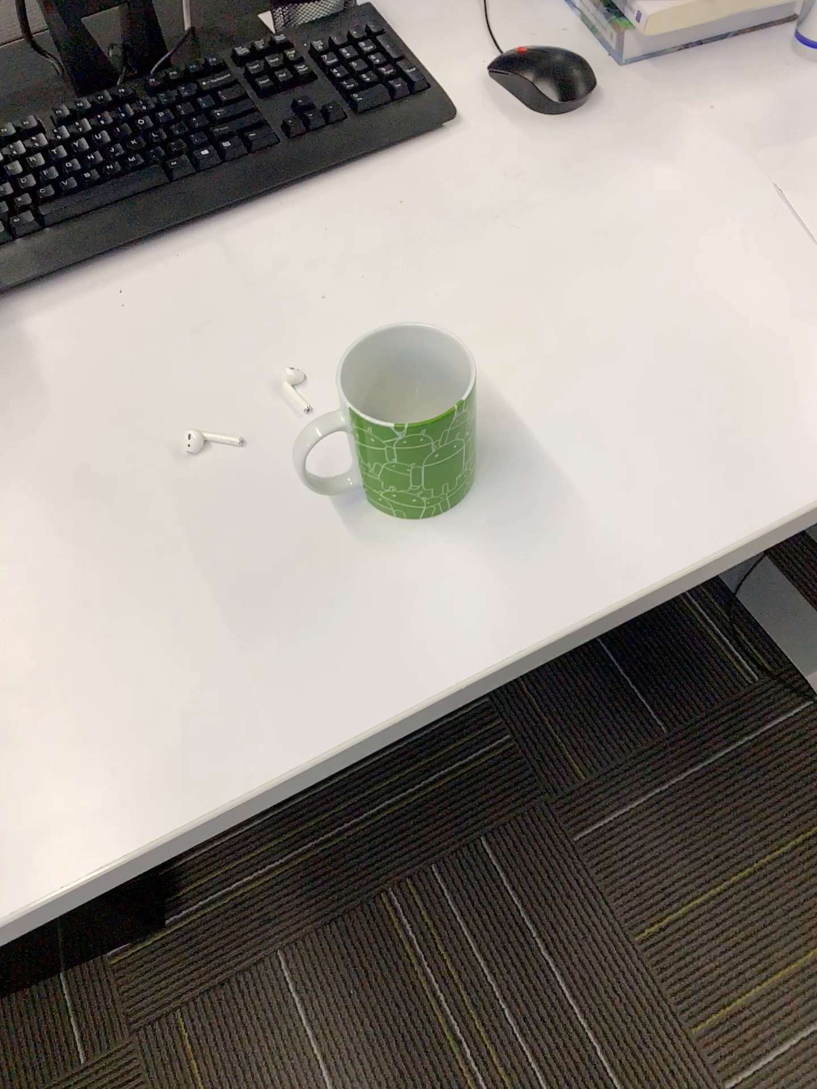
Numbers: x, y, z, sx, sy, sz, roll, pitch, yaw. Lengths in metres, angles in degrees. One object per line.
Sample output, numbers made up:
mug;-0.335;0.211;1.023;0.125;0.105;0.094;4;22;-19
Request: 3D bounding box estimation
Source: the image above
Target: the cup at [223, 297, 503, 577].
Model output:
cup;-0.024;-0.063;0.498;0.130;0.090;0.090;-23;60;-9
